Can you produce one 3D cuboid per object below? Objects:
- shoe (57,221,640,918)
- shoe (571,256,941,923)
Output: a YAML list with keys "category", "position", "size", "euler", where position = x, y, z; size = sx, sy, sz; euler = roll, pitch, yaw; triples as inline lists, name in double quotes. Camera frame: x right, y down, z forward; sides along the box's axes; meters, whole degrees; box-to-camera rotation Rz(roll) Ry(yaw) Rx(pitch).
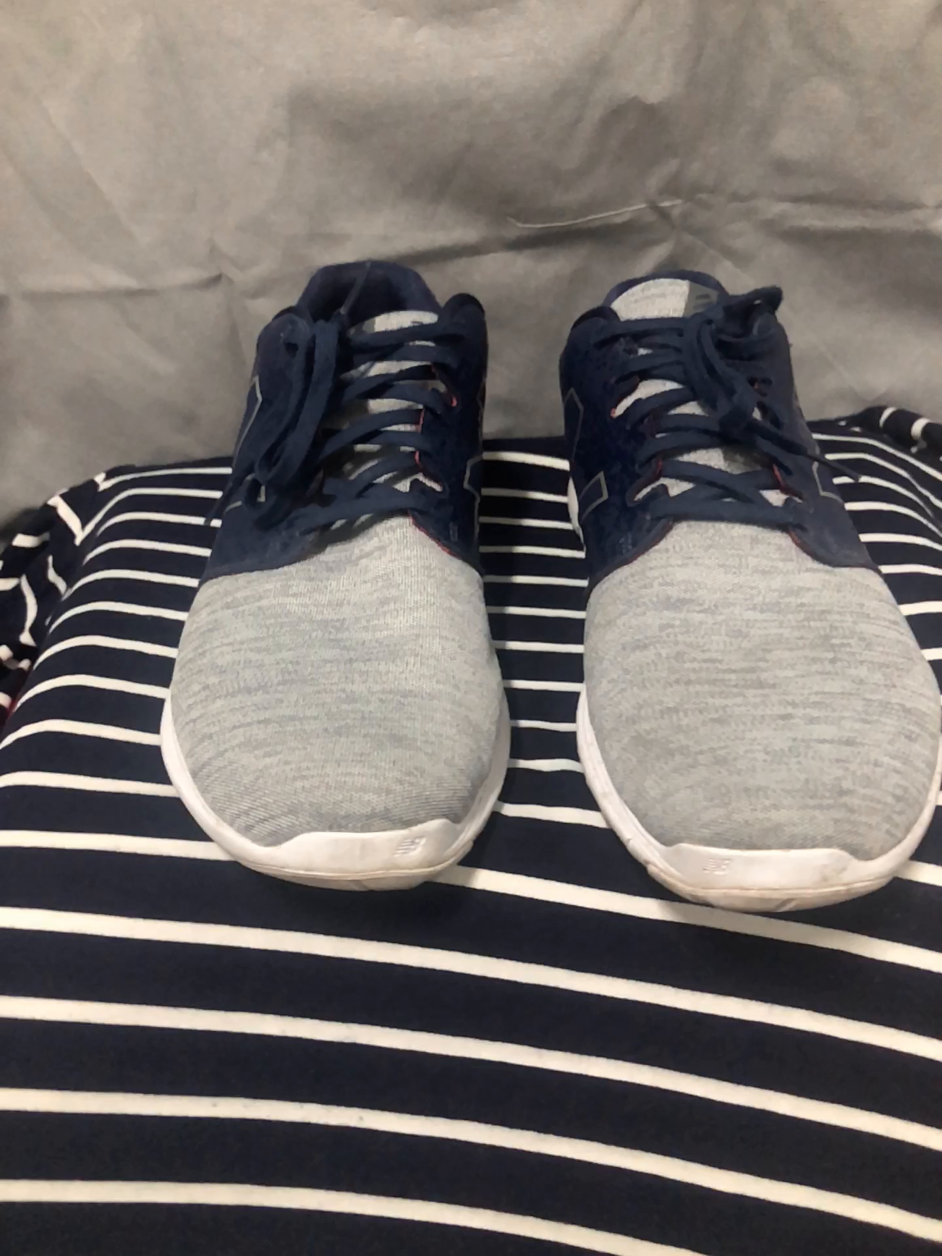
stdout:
- category: "shoe"
  position: [-0.021, -0.056, 0.371]
  size: [0.120, 0.089, 0.323]
  euler: [-1, 35, 2]
- category: "shoe"
  position: [0.100, -0.039, 0.330]
  size: [0.120, 0.079, 0.262]
  euler: [-1, 35, 2]
